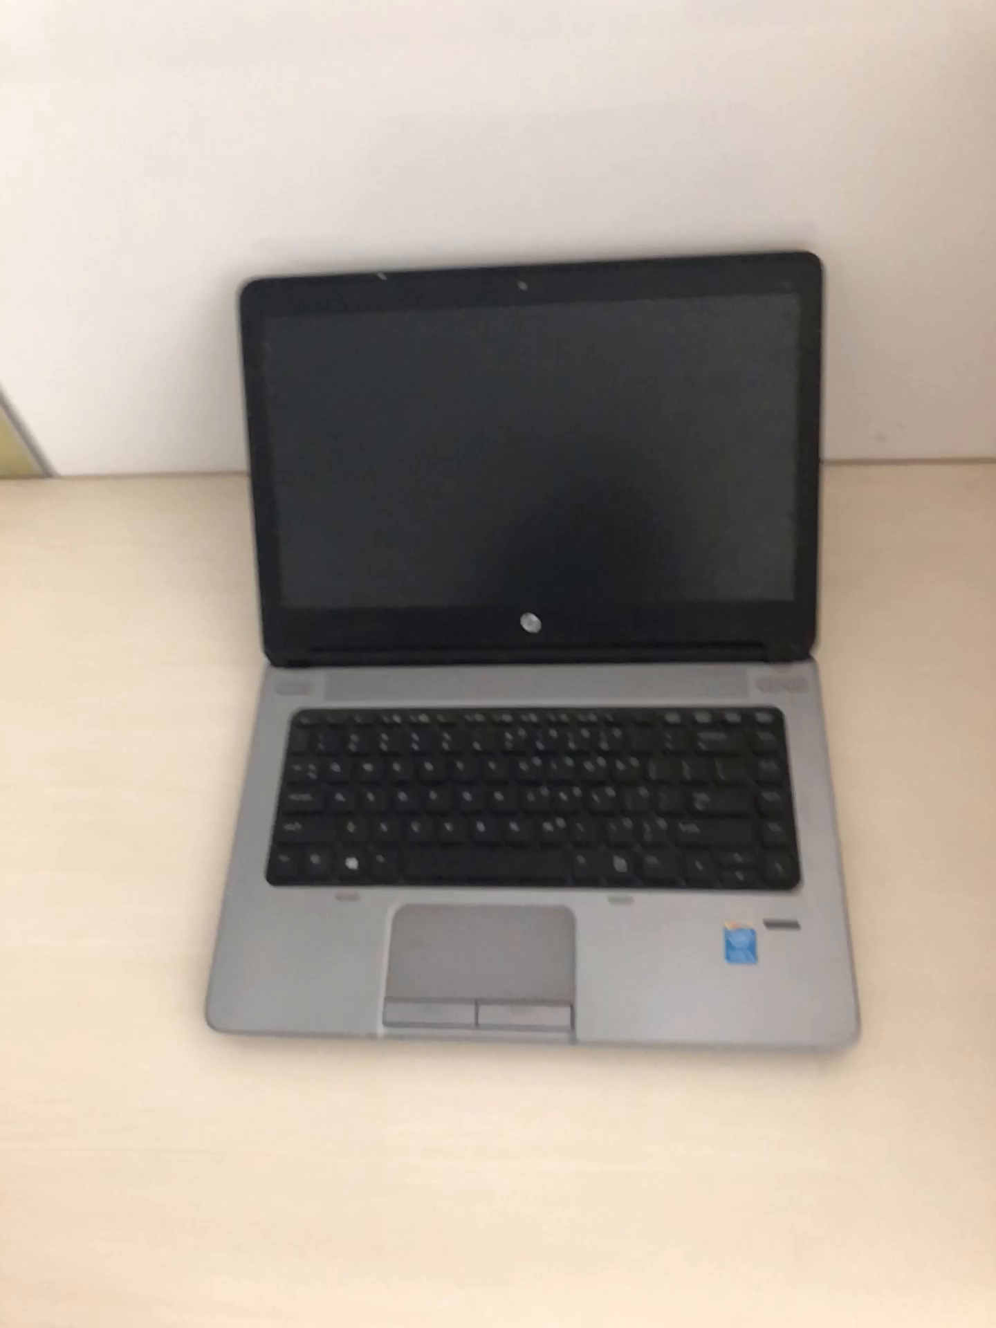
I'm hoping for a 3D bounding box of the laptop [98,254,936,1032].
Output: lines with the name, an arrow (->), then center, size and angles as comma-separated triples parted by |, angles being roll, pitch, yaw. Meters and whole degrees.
laptop -> 0.016, -0.023, 0.582 | 0.322, 0.148, 0.379 | -1, 58, 6
